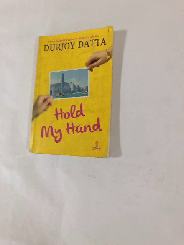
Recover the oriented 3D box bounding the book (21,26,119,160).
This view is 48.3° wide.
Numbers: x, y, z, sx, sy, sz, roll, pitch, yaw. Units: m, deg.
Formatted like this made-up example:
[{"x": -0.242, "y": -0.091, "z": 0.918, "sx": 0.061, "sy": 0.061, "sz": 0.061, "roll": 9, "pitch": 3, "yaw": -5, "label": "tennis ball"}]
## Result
[{"x": -0.033, "y": -0.044, "z": 0.312, "sx": 0.140, "sy": 0.020, "sz": 0.190, "roll": 1, "pitch": 83, "yaw": 17, "label": "book"}]
